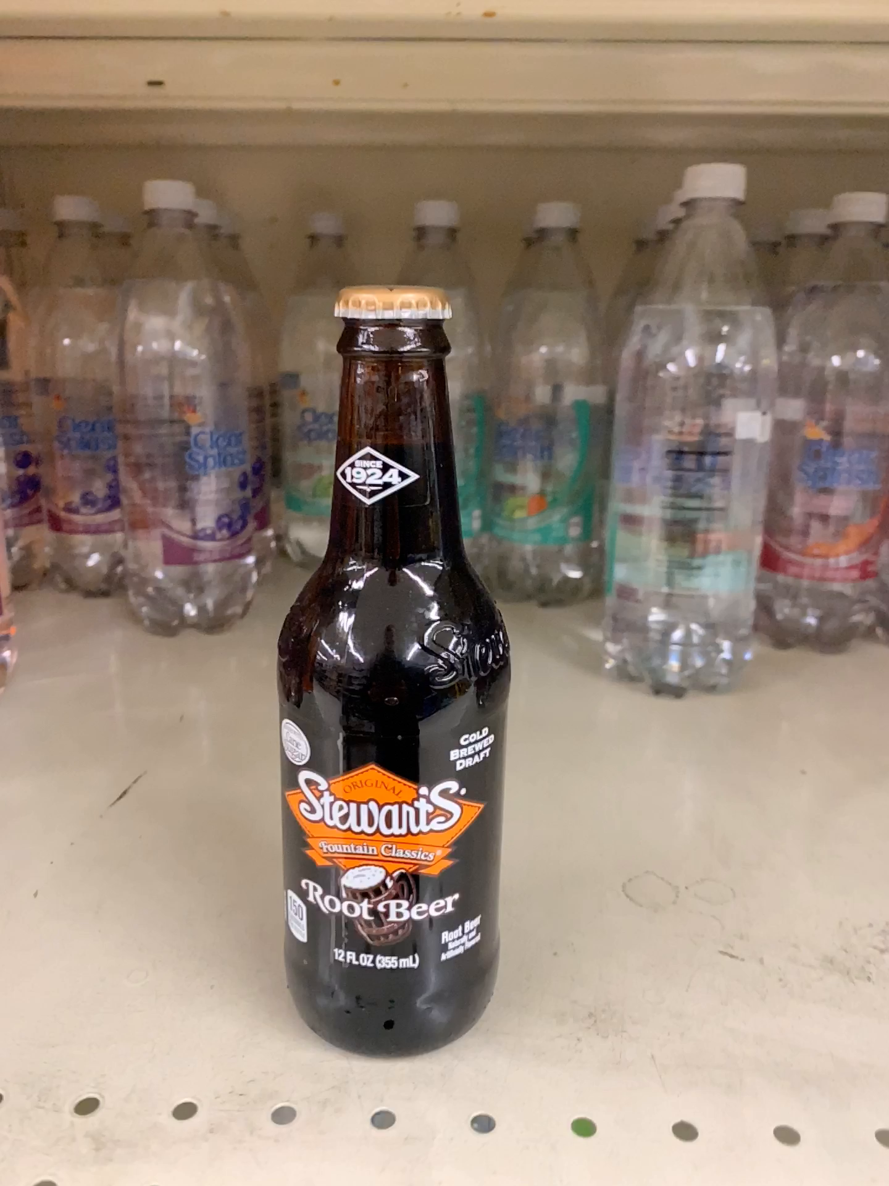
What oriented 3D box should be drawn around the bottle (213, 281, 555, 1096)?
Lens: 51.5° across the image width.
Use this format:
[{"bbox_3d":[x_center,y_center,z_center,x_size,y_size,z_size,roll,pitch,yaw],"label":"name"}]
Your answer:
[{"bbox_3d":[-0.011,0.025,0.253,0.070,0.207,0.060,4,17,10],"label":"bottle"}]
